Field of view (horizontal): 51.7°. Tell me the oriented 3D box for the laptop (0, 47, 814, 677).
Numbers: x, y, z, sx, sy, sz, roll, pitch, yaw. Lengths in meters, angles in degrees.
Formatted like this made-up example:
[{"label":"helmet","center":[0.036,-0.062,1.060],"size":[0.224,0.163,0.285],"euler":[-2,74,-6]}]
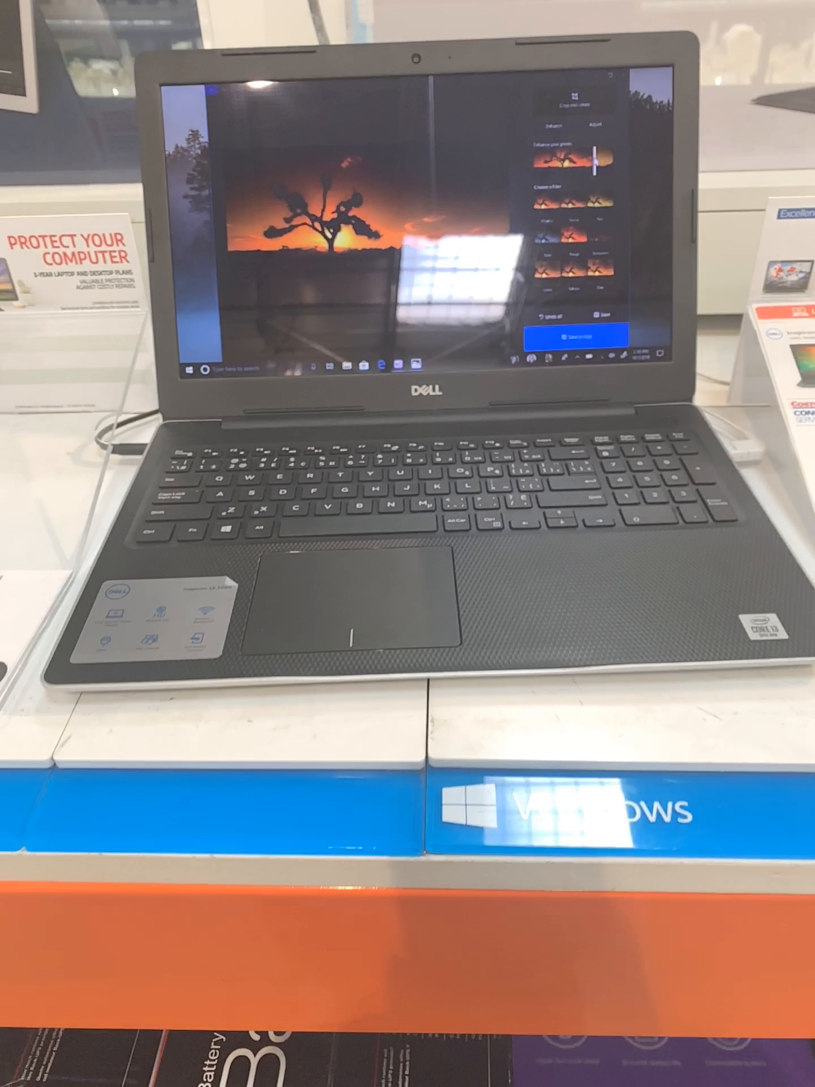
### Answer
[{"label":"laptop","center":[0.016,-0.129,0.453],"size":[0.357,0.205,0.344],"euler":[-2,35,-1]}]
